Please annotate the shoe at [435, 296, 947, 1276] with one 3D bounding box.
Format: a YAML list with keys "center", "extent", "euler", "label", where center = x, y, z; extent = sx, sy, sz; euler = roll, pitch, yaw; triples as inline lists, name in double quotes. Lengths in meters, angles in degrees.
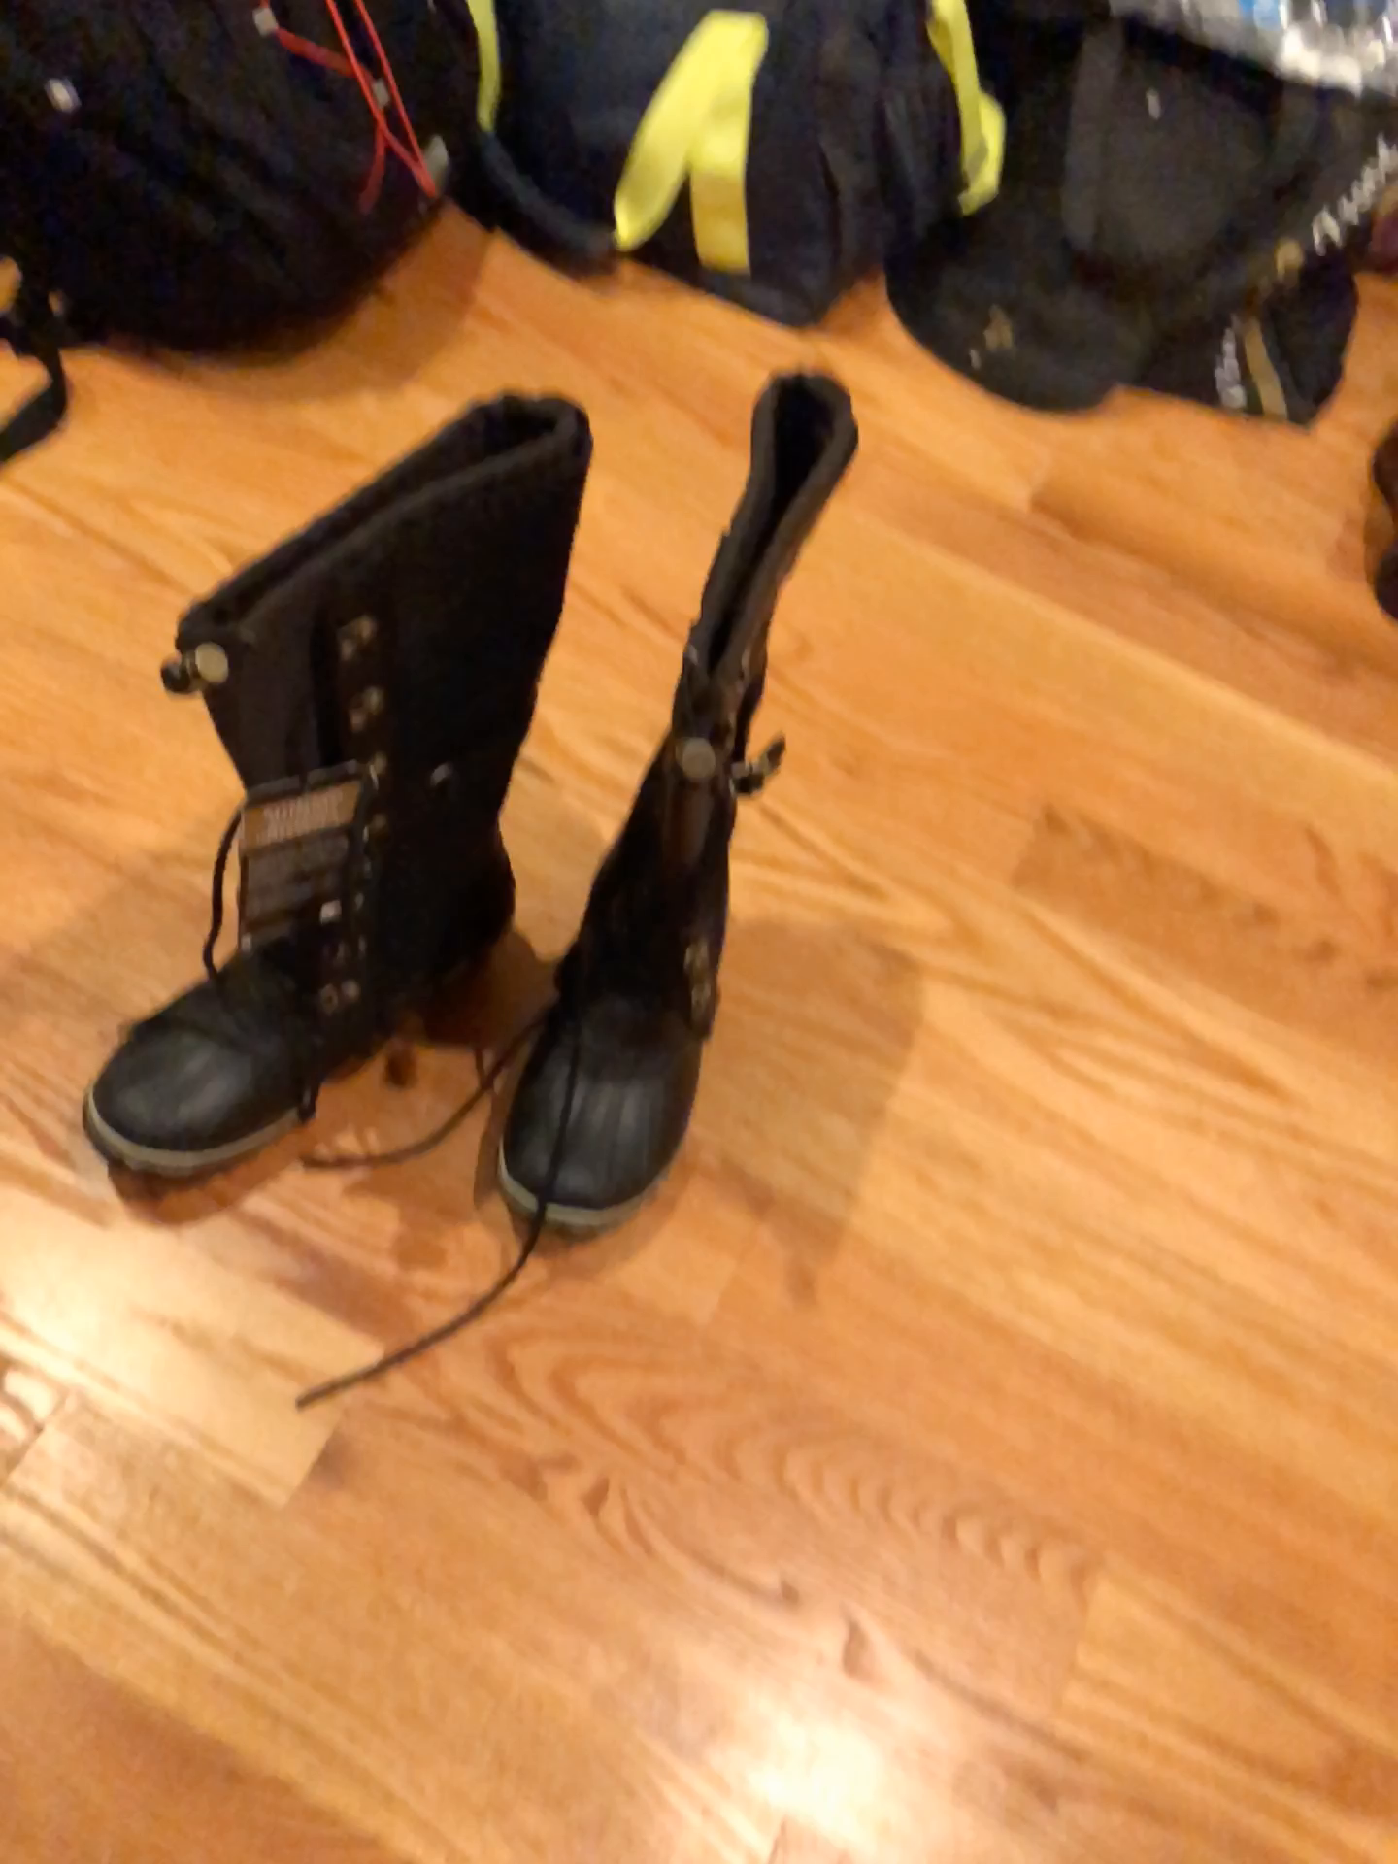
- center: [-0.014, -0.043, 0.662]
  extent: [0.100, 0.328, 0.261]
  euler: [18, 56, 0]
  label: "shoe"

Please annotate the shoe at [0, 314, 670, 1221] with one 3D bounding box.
- center: [-0.161, -0.055, 0.649]
  extent: [0.100, 0.308, 0.261]
  euler: [41, 59, 14]
  label: "shoe"
